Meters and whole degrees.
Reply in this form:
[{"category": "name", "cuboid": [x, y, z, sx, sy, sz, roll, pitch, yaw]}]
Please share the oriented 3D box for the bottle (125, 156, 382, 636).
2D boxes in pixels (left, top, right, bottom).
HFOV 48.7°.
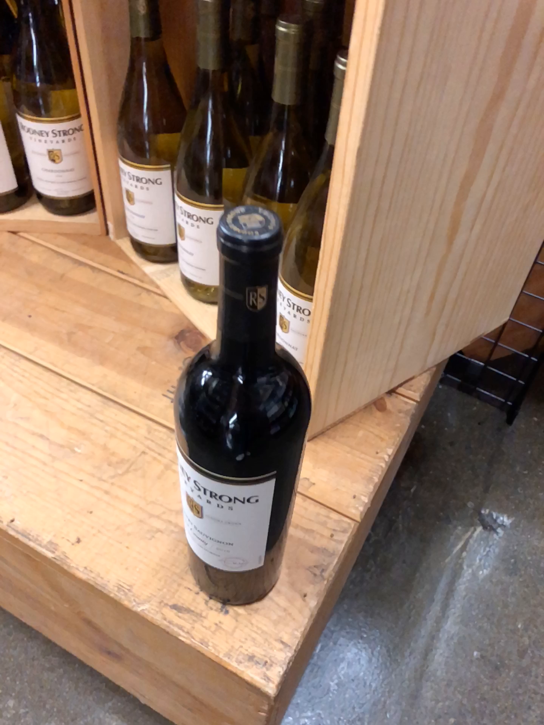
[{"category": "bottle", "cuboid": [-0.019, 0.049, 0.354, 0.070, 0.309, 0.080, -28, 54, -28]}]
